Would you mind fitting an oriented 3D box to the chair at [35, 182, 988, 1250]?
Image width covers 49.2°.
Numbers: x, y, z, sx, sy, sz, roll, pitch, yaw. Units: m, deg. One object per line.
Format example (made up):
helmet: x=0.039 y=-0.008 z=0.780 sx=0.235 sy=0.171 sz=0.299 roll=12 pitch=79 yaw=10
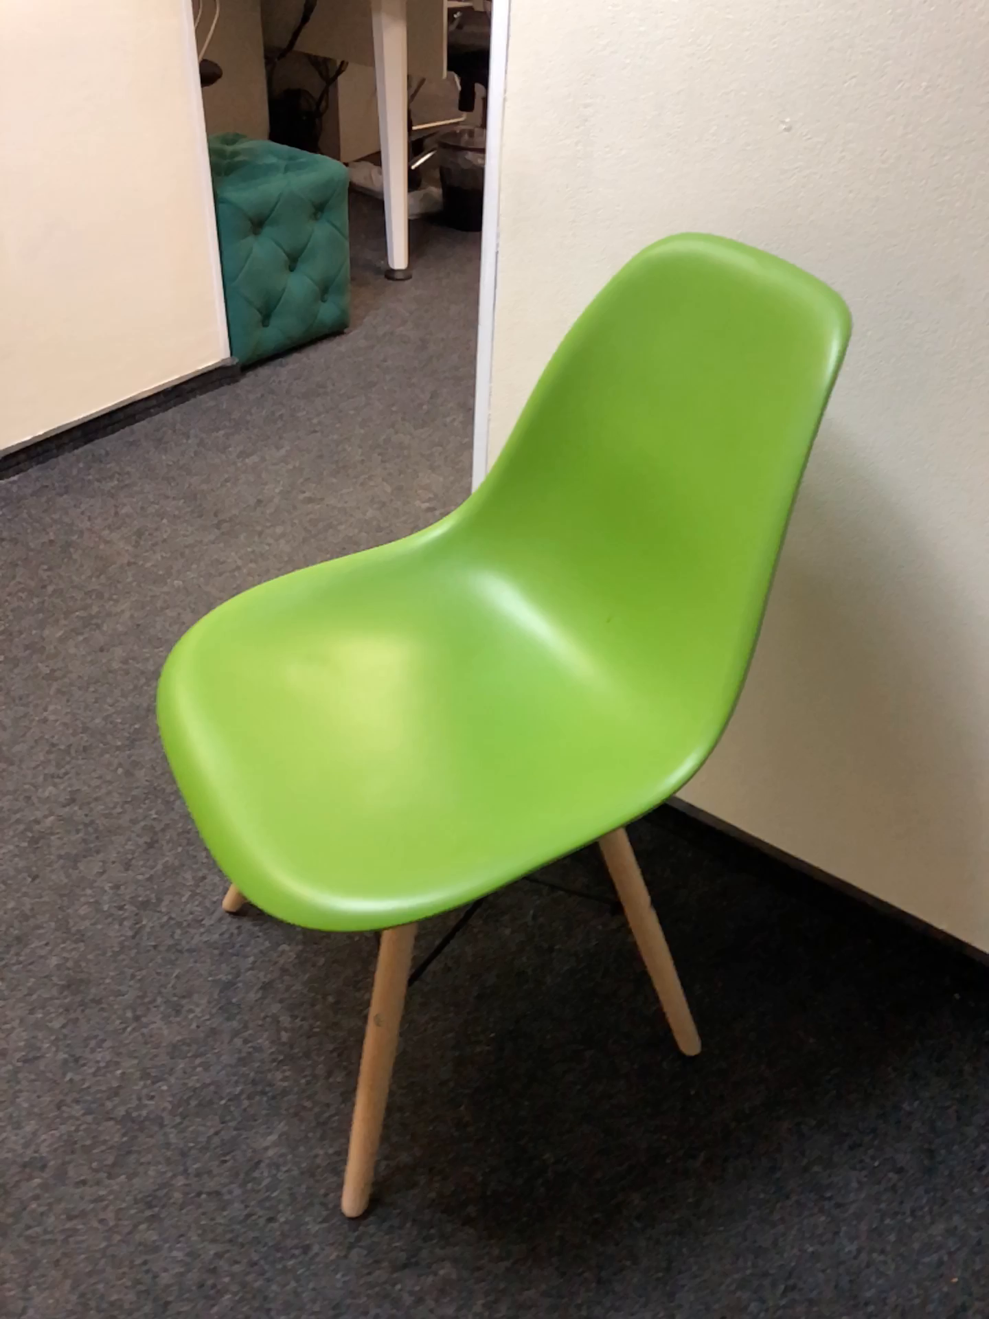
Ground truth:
chair: x=-0.003 y=0.021 z=0.991 sx=0.581 sy=0.705 sz=0.482 roll=-15 pitch=41 yaw=-22
